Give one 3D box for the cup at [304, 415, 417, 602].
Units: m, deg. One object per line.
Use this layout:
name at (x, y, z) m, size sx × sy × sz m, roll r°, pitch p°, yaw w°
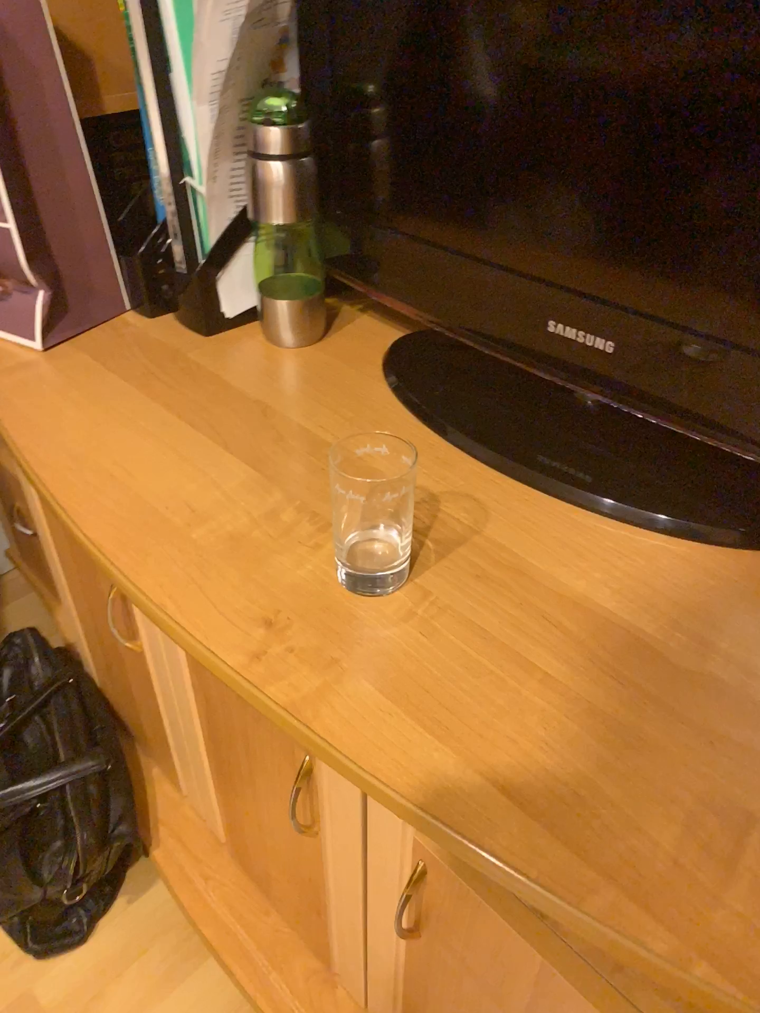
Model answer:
cup at (-0.010, 0.001, 0.499) m, size 0.060 × 0.099 × 0.061 m, roll 0°, pitch 37°, yaw 0°
